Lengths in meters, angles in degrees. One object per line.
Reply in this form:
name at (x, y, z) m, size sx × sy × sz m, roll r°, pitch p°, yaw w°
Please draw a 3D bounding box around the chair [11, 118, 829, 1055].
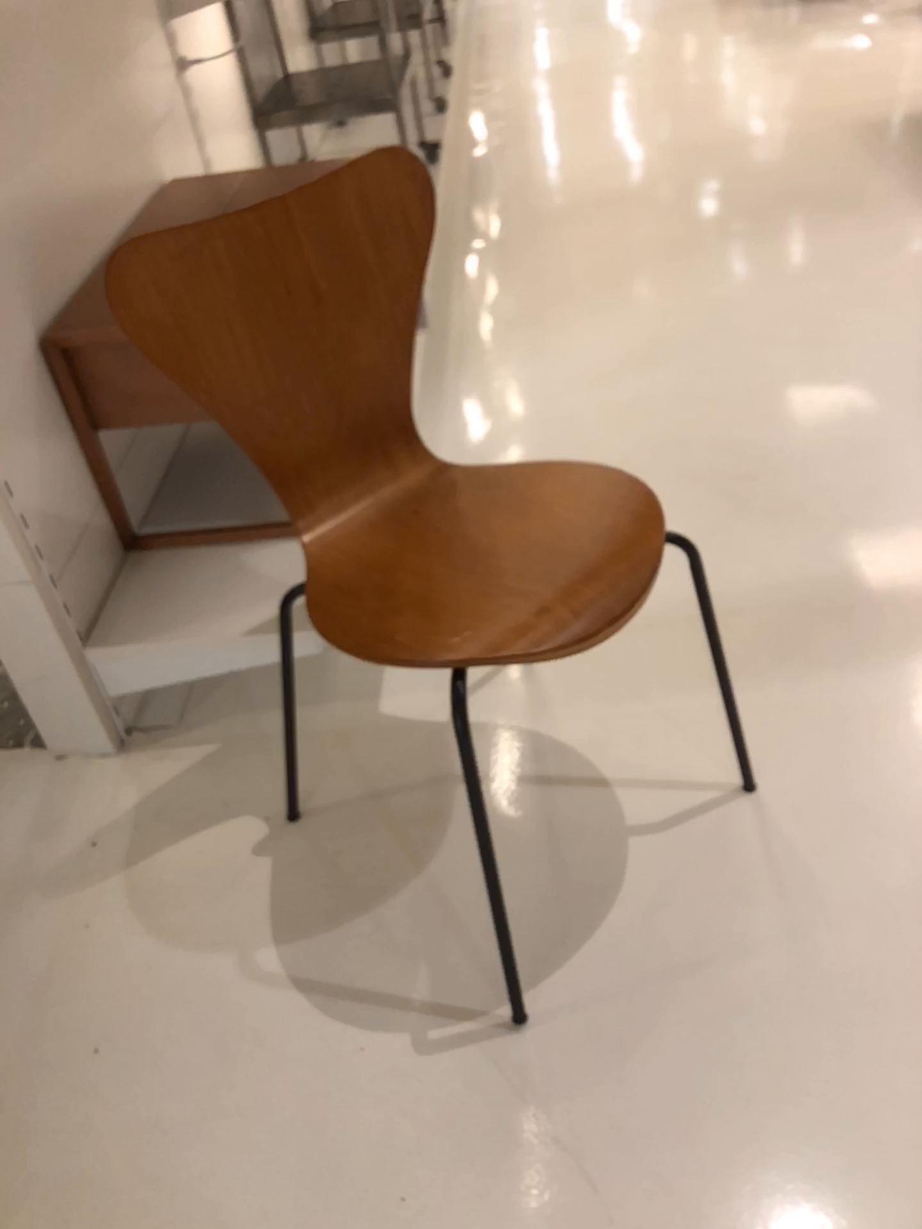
chair at (-0.003, -0.063, 1.212) m, size 0.542 × 0.794 × 0.573 m, roll -35°, pitch 44°, yaw -28°
